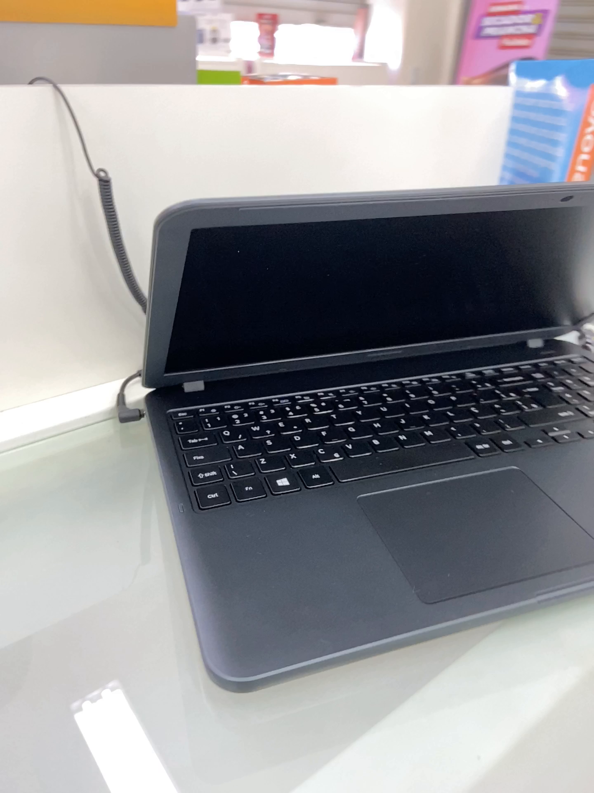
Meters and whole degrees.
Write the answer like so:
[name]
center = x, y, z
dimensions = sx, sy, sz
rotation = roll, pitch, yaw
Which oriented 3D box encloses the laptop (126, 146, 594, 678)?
[laptop]
center = 0.105, -0.041, 0.350
dimensions = 0.358, 0.158, 0.232
rotation = -8, 31, -18
